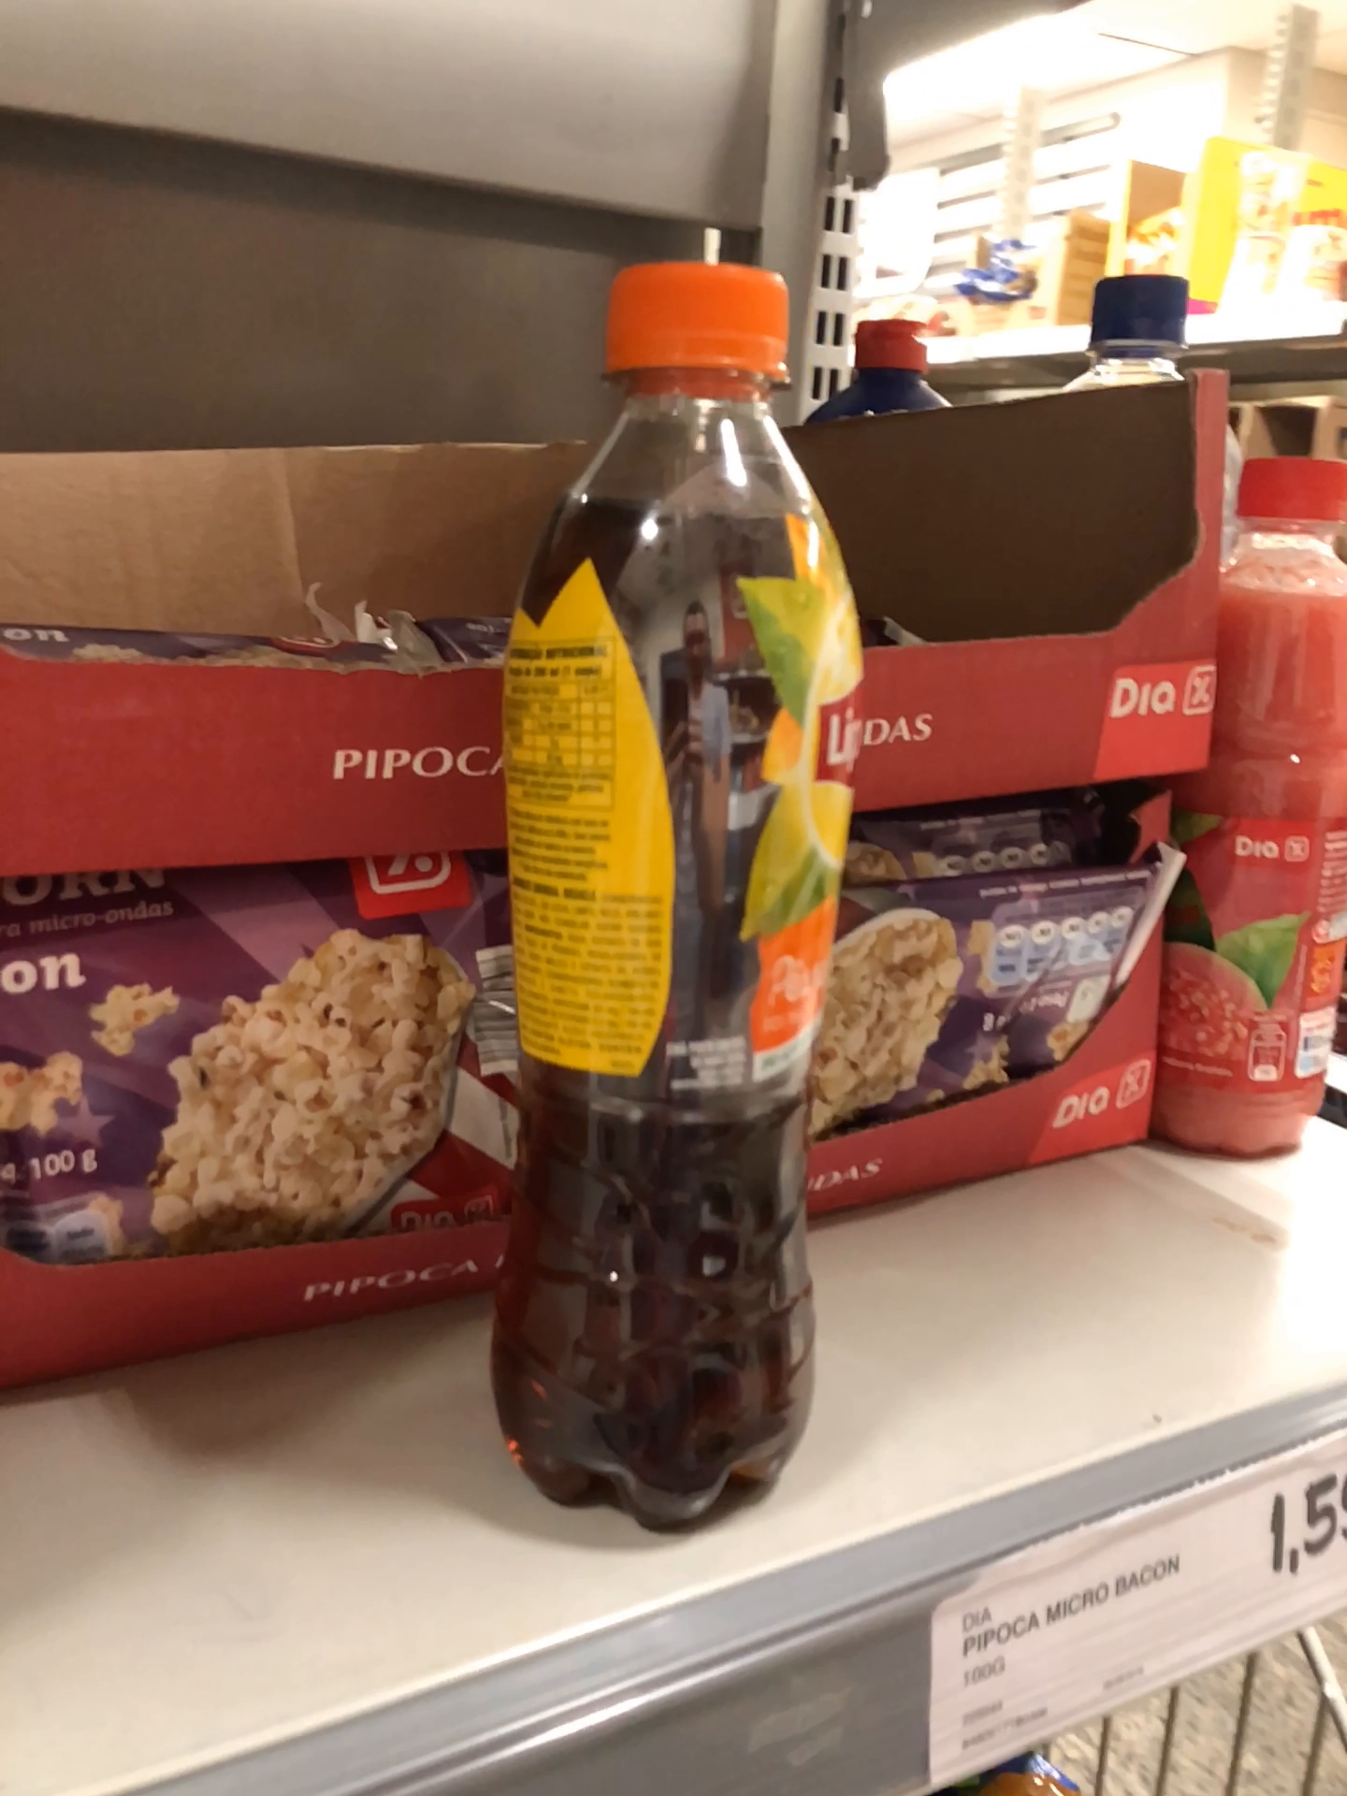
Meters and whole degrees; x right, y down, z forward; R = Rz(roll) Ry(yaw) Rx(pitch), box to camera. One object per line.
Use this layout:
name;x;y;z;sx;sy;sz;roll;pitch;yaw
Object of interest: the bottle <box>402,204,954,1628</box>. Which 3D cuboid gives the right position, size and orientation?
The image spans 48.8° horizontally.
bottle;0.000;0.004;0.260;0.070;0.219;0.070;3;16;-1
